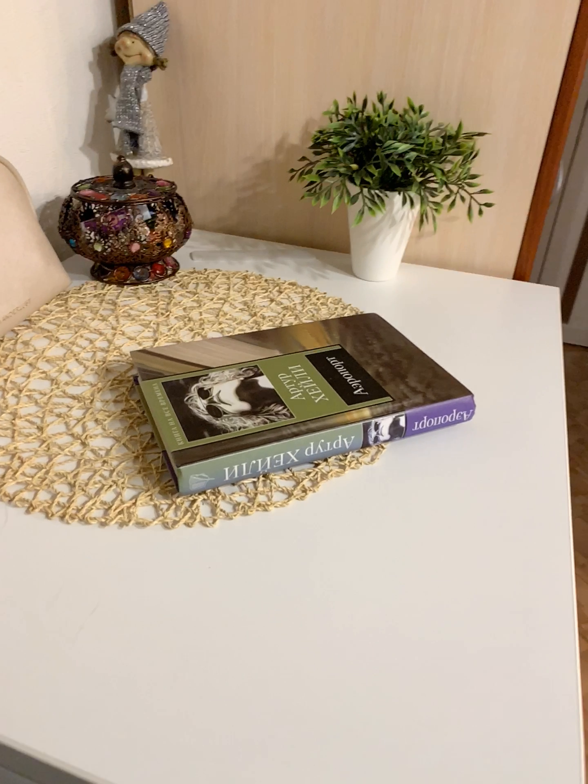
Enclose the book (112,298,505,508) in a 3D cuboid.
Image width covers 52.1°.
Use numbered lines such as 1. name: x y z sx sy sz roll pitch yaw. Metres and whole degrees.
1. book: 0.005 -0.008 0.421 0.230 0.020 0.151 -13 37 -21
